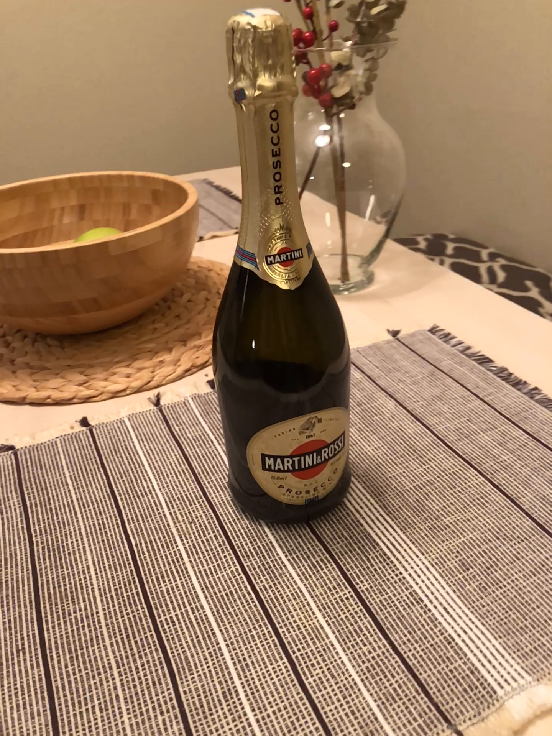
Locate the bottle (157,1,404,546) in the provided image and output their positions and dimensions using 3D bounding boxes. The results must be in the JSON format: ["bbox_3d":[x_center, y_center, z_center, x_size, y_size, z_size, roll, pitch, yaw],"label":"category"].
[{"bbox_3d":[0.005,-0.047,0.384,0.100,0.308,0.101,-3,30,2],"label":"bottle"}]
